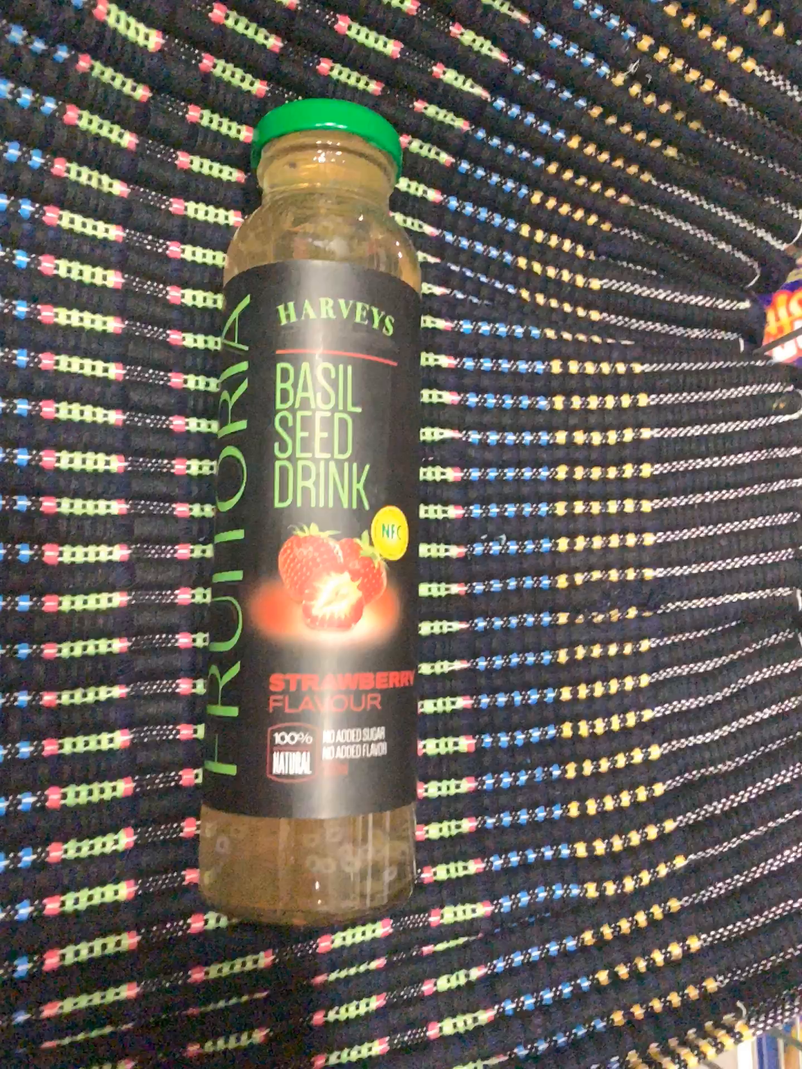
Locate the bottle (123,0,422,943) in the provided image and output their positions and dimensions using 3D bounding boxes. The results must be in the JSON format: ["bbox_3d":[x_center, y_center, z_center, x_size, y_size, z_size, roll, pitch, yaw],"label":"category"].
[{"bbox_3d":[-0.026,-0.020,0.219,0.060,0.060,0.220,-1,80,3],"label":"bottle"}]
